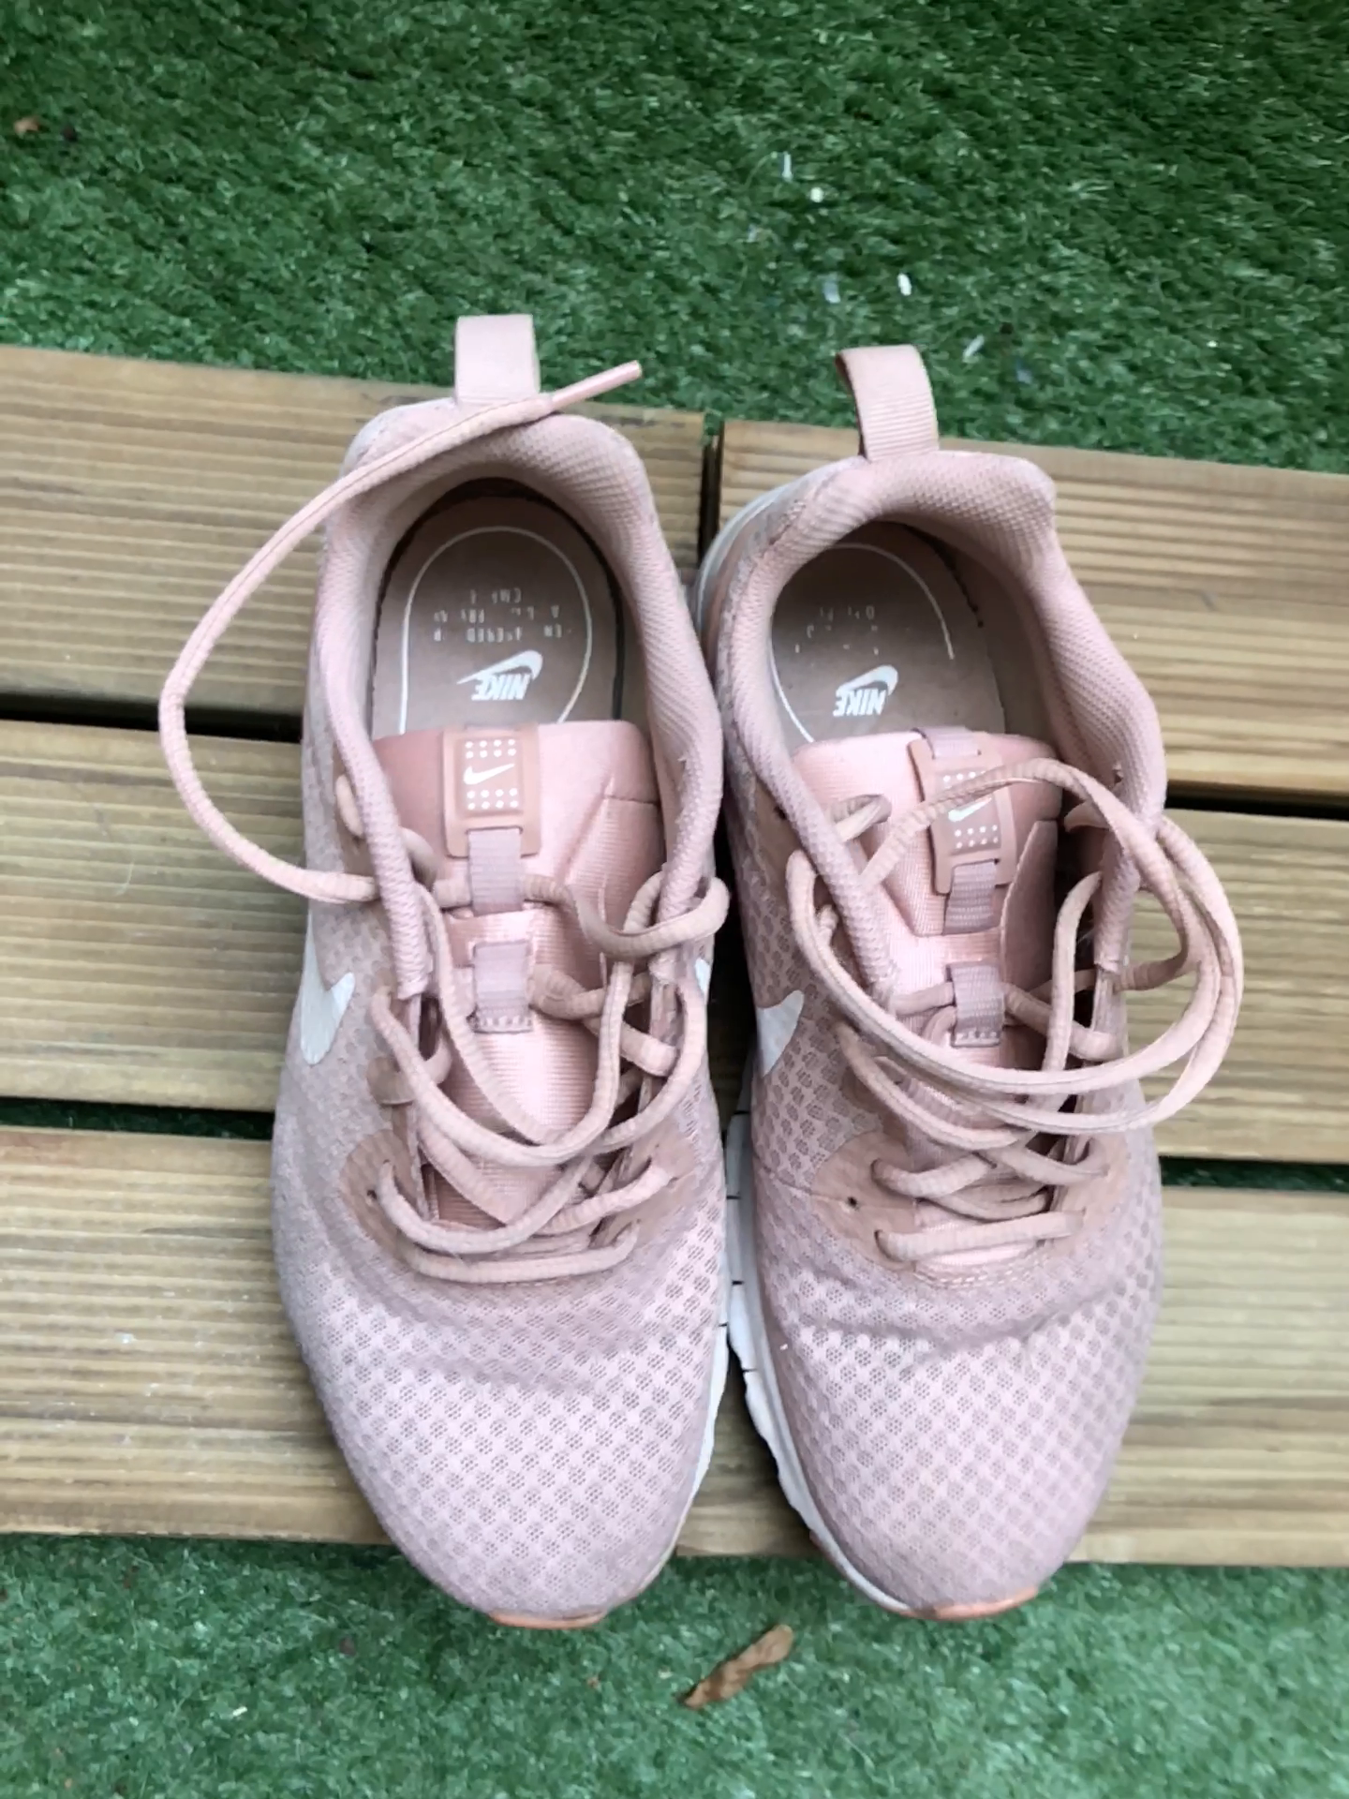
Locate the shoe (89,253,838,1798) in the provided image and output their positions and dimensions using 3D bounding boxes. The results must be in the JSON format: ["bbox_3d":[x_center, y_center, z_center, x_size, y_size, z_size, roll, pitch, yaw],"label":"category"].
[{"bbox_3d":[-0.041,0.022,0.291,0.110,0.090,0.260,-3,83,-5],"label":"shoe"}]

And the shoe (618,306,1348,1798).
[{"bbox_3d":[0.056,0.027,0.306,0.110,0.090,0.260,-5,83,-5],"label":"shoe"}]
